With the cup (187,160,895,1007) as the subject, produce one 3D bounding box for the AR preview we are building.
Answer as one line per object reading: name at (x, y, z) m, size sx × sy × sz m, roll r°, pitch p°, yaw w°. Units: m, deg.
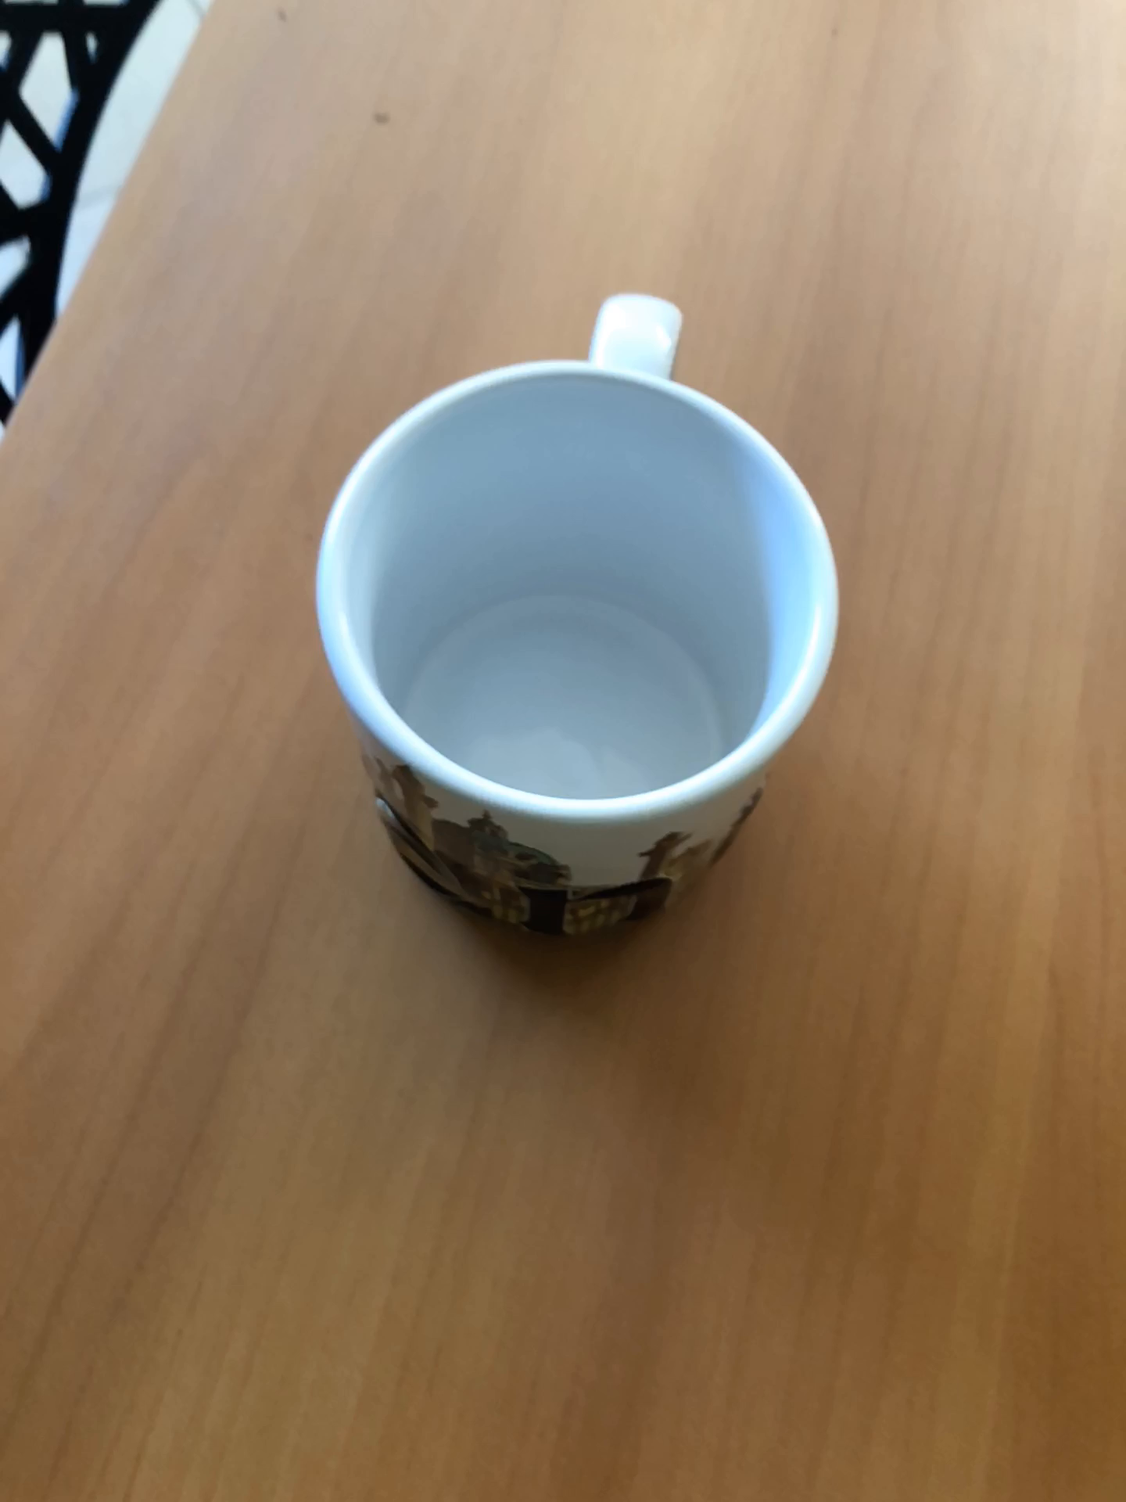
cup at (0.001, -0.033, 0.298) m, size 0.110 × 0.100 × 0.150 m, roll 13°, pitch 70°, yaw 2°
